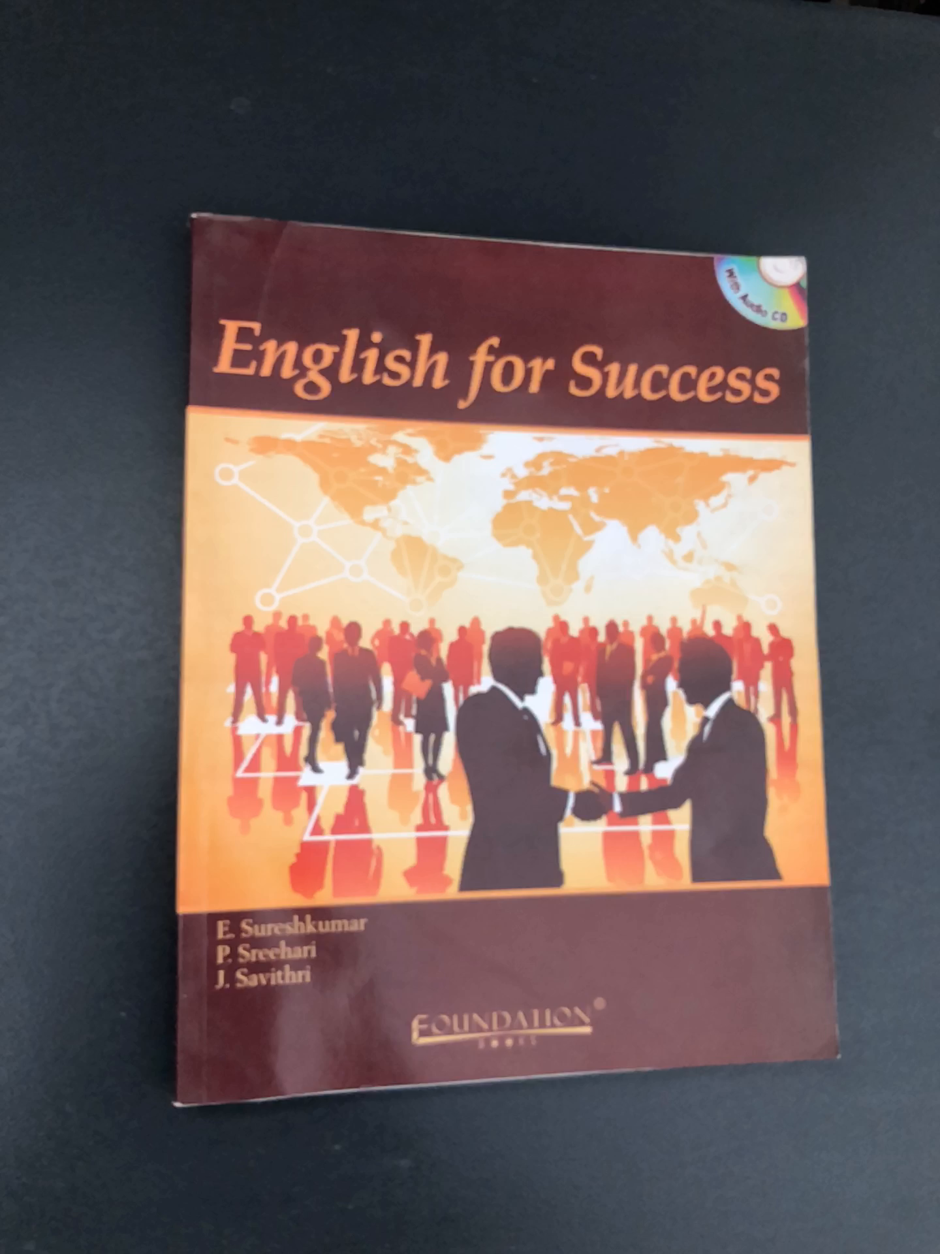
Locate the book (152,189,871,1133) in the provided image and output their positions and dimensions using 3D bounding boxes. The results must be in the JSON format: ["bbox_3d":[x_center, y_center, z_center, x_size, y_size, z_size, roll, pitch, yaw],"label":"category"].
[{"bbox_3d":[0.011,0.004,0.301,0.190,0.030,0.240,0,83,-11],"label":"book"}]
